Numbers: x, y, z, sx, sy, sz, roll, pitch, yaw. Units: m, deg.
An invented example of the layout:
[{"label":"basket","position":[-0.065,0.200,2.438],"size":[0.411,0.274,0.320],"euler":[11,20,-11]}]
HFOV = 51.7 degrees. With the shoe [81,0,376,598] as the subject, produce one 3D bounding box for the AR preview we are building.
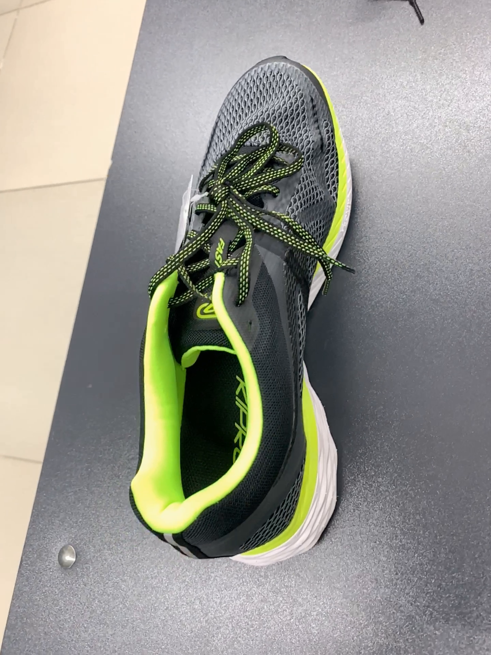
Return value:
[{"label":"shoe","position":[0.010,-0.030,0.302],"size":[0.110,0.110,0.310],"euler":[-1,73,23]}]
